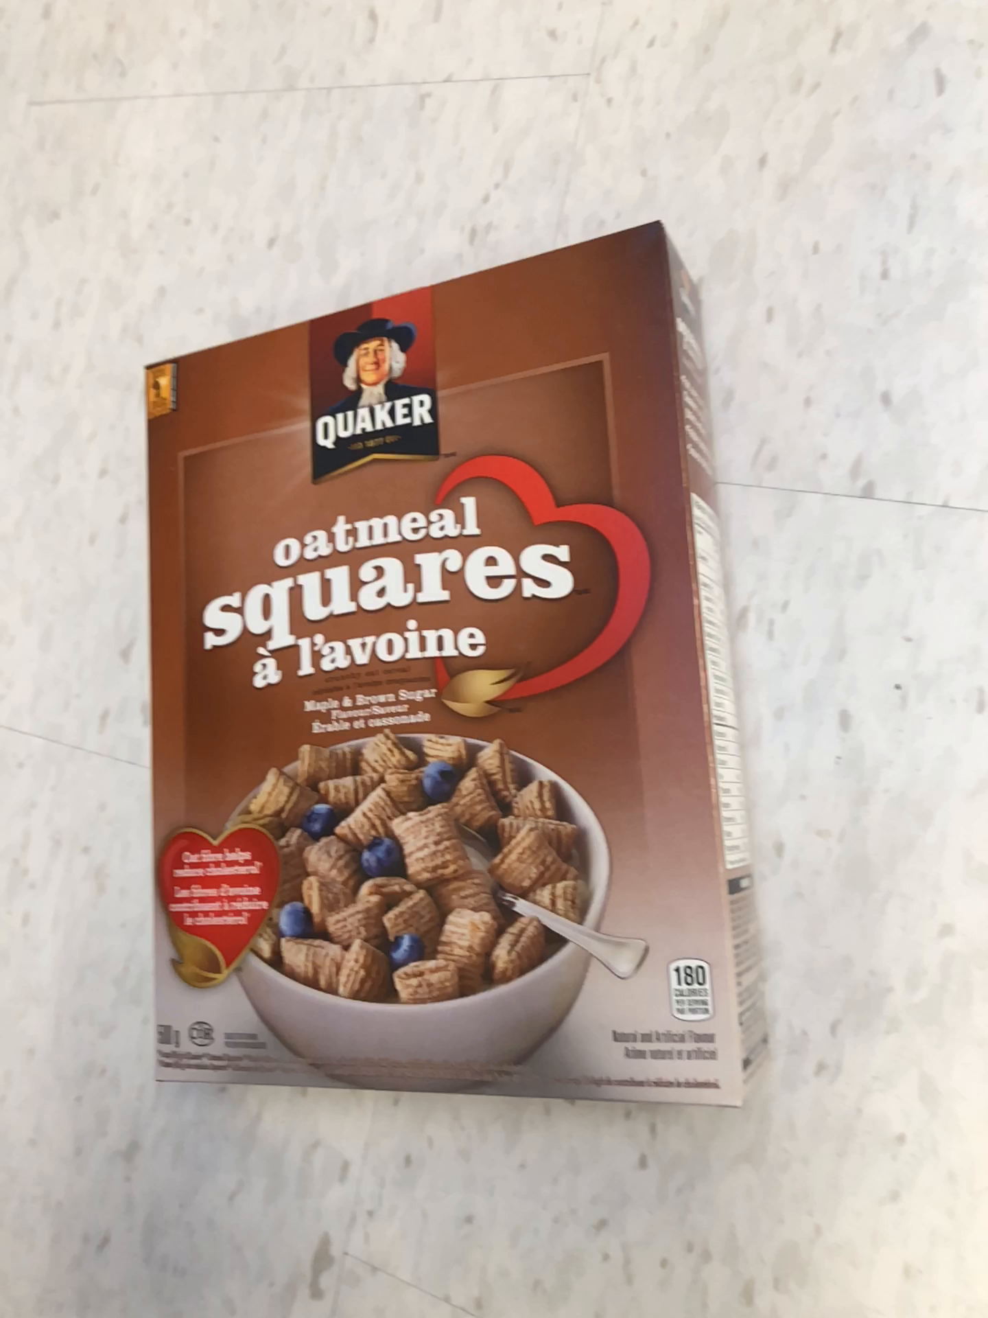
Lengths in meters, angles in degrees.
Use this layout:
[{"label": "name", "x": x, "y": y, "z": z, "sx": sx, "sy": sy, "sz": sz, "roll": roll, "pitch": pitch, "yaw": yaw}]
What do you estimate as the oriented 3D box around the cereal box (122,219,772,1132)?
[{"label": "cereal box", "x": -0.026, "y": 0.012, "z": 0.392, "sx": 0.210, "sy": 0.070, "sz": 0.270, "roll": -7, "pitch": 80, "yaw": 23}]
